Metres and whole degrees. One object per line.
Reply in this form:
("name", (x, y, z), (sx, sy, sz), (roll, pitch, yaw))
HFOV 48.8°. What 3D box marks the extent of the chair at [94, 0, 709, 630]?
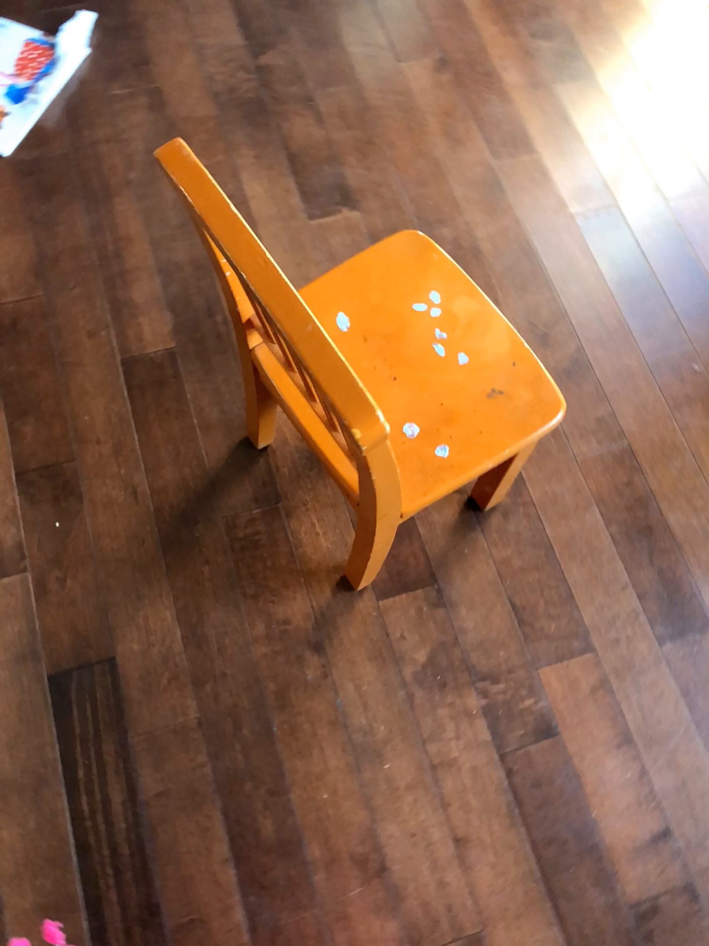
("chair", (0.030, -0.134, 0.849), (0.350, 0.570, 0.360), (-30, 72, -15))
